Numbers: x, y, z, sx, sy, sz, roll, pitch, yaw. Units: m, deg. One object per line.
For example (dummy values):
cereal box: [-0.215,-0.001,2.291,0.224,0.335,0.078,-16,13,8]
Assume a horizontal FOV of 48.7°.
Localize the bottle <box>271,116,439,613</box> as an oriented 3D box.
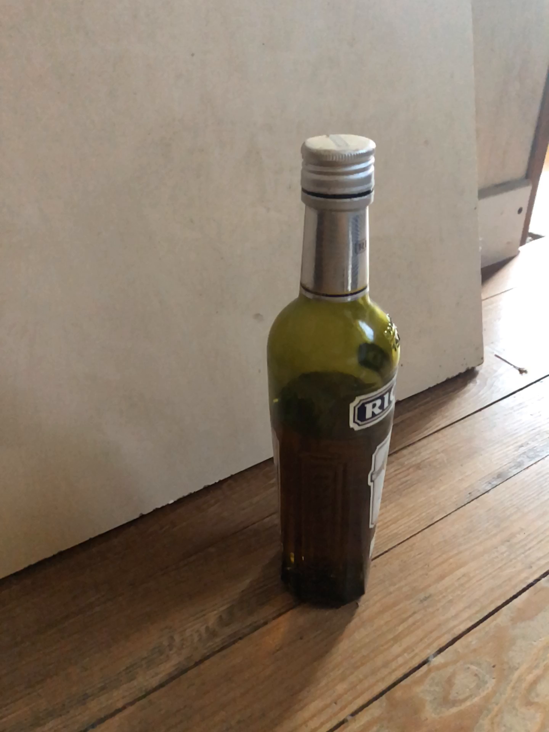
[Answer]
bottle: [0.035,0.014,0.318,0.060,0.258,0.070,5,33,8]
